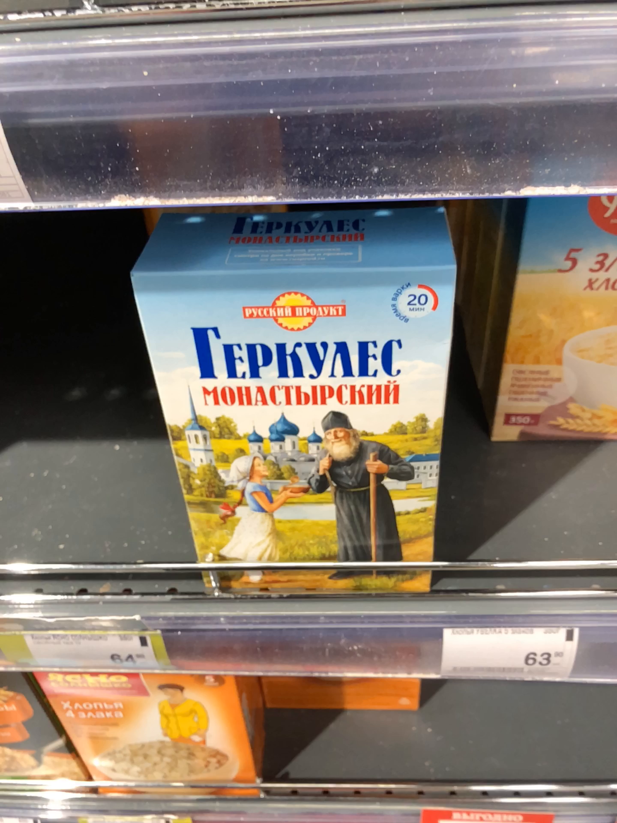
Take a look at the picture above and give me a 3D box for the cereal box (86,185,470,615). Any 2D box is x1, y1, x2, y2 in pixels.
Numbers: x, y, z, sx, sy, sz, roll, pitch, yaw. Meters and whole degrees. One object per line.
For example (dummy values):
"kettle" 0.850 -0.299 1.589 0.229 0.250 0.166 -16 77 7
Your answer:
"cereal box" -0.006 0.007 0.318 0.130 0.199 0.060 -1 38 3
